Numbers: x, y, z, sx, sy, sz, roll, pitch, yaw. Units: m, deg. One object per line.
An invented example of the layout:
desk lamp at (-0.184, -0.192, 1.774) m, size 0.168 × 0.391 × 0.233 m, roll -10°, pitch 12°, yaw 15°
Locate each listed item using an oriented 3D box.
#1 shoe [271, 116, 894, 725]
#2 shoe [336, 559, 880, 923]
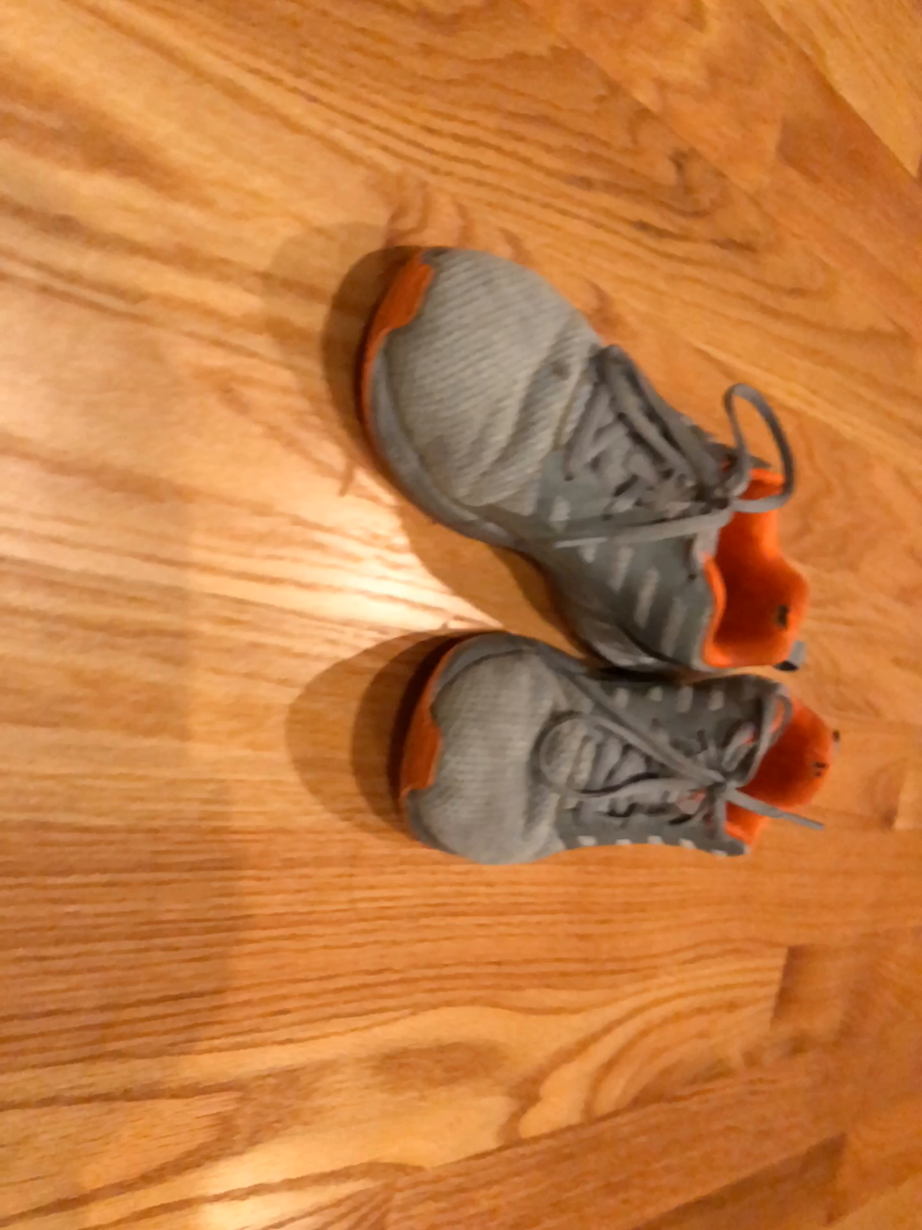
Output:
shoe at (0.066, -0.057, 0.409) m, size 0.251 × 0.099 × 0.100 m, roll 34°, pitch 76°, yaw -42°
shoe at (0.078, 0.044, 0.445) m, size 0.251 × 0.080 × 0.110 m, roll 3°, pitch 98°, yaw -43°
